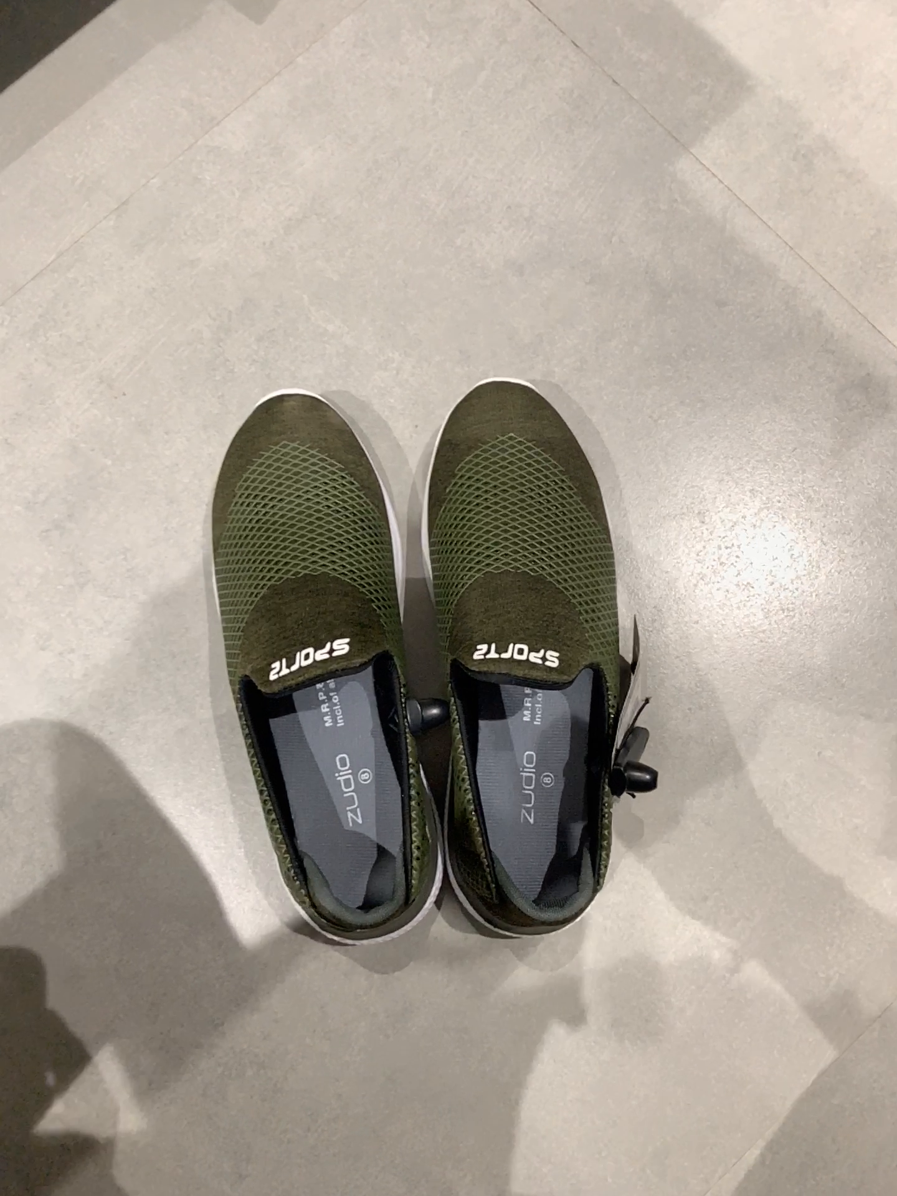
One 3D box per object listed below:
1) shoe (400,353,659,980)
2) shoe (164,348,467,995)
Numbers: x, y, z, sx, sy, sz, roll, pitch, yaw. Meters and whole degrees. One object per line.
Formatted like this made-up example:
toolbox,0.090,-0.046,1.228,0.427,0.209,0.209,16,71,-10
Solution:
shoe,0.035,0.032,0.468,0.100,0.100,0.280,-3,83,0
shoe,-0.063,0.033,0.465,0.100,0.100,0.280,-9,83,-1
